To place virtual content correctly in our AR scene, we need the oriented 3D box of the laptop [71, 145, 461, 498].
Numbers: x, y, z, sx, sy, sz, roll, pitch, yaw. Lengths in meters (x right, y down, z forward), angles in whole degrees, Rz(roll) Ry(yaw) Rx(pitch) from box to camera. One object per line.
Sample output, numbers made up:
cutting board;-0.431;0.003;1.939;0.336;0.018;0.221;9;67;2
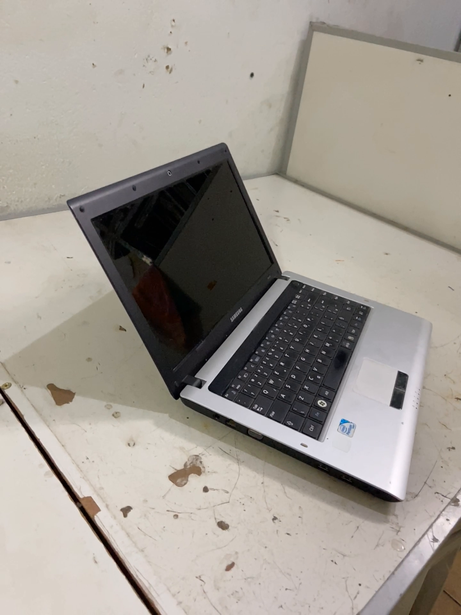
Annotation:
laptop;0.072;-0.037;0.563;0.362;0.172;0.336;20;34;17
